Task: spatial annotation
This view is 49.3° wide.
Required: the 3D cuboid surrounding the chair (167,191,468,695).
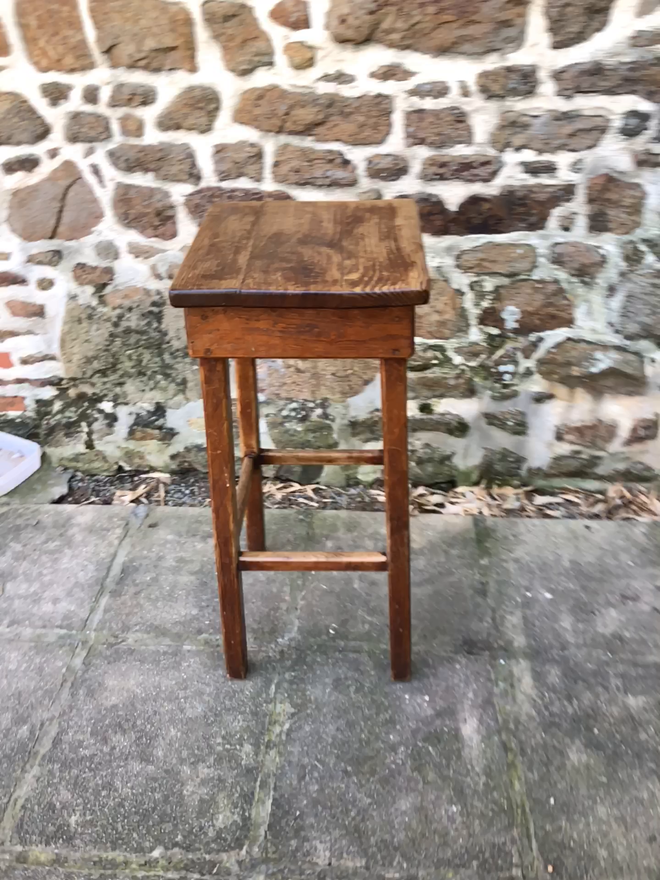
[{"bbox_3d":[0.003,0.041,1.203,0.350,0.795,0.332,0,36,3],"label":"chair"}]
